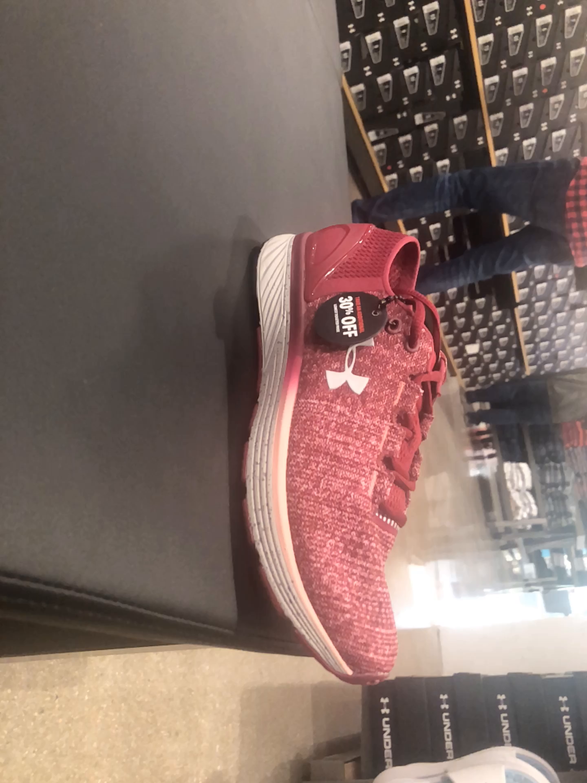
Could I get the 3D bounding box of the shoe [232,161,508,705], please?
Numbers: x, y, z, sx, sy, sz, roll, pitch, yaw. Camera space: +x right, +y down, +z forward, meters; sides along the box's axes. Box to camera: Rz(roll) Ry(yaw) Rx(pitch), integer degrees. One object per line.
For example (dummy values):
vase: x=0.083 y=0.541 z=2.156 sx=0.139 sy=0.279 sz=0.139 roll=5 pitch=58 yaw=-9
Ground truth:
shoe: x=0.041 y=0.026 z=0.361 sx=0.122 sy=0.097 sz=0.253 roll=41 pitch=41 yaw=-61
